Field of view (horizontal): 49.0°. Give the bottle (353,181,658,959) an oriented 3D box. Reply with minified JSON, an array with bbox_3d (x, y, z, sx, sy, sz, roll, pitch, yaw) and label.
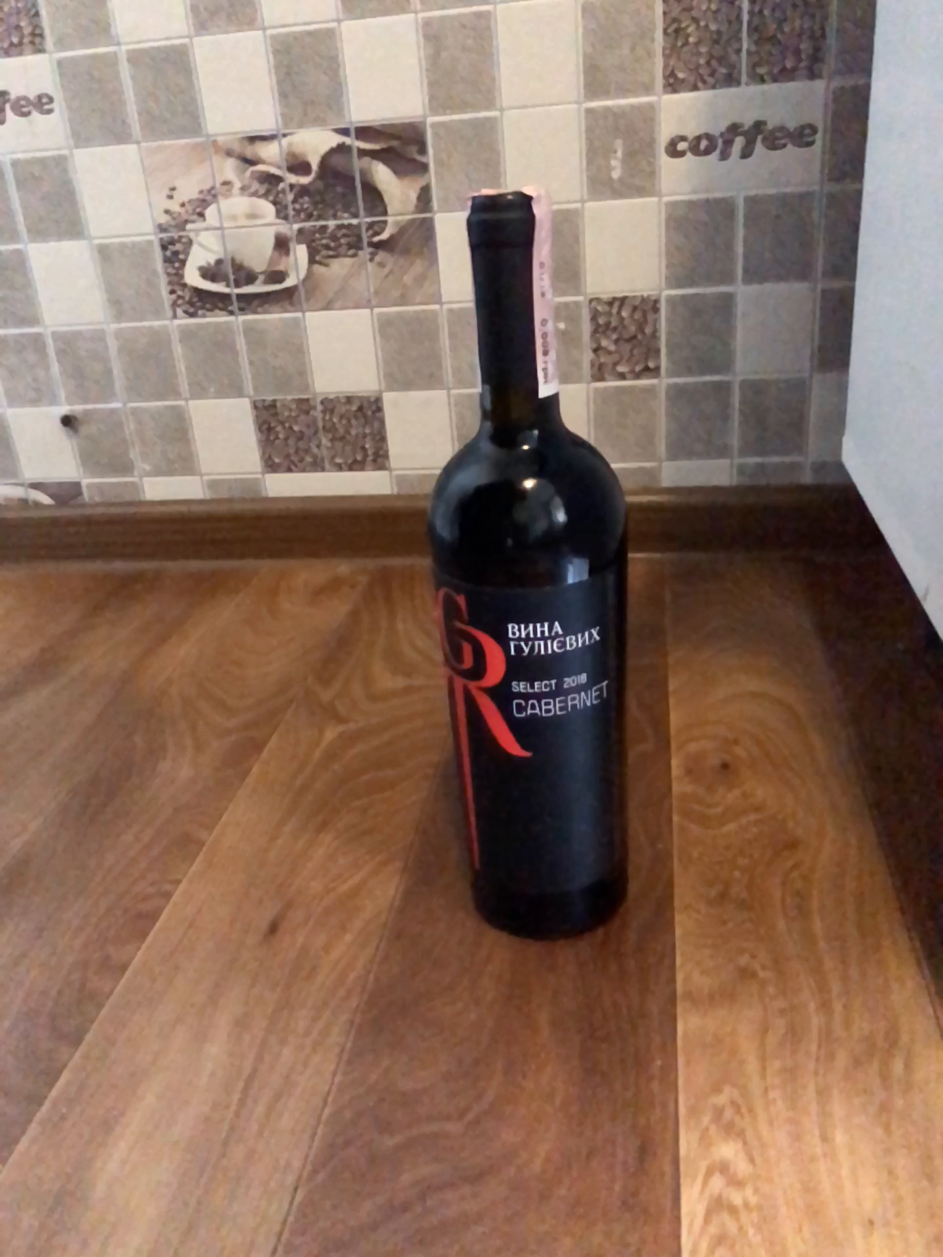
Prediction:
[{"bbox_3d":[0.026,-0.017,0.424,0.090,0.297,0.091,-4,24,2],"label":"bottle"}]
